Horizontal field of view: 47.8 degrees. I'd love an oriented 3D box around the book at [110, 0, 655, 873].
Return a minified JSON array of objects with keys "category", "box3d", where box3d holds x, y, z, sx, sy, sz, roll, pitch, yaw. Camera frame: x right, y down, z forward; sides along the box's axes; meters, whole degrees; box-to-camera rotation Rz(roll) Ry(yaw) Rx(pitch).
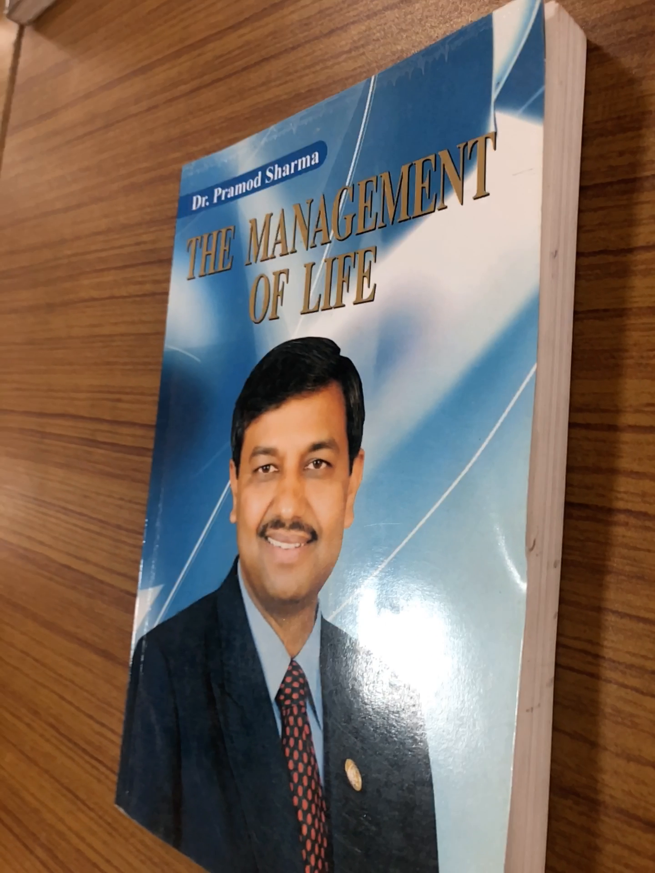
[{"category":"book","box3d":[0.000,0.014,0.187,0.151,0.020,0.210,-1,82,47]}]
